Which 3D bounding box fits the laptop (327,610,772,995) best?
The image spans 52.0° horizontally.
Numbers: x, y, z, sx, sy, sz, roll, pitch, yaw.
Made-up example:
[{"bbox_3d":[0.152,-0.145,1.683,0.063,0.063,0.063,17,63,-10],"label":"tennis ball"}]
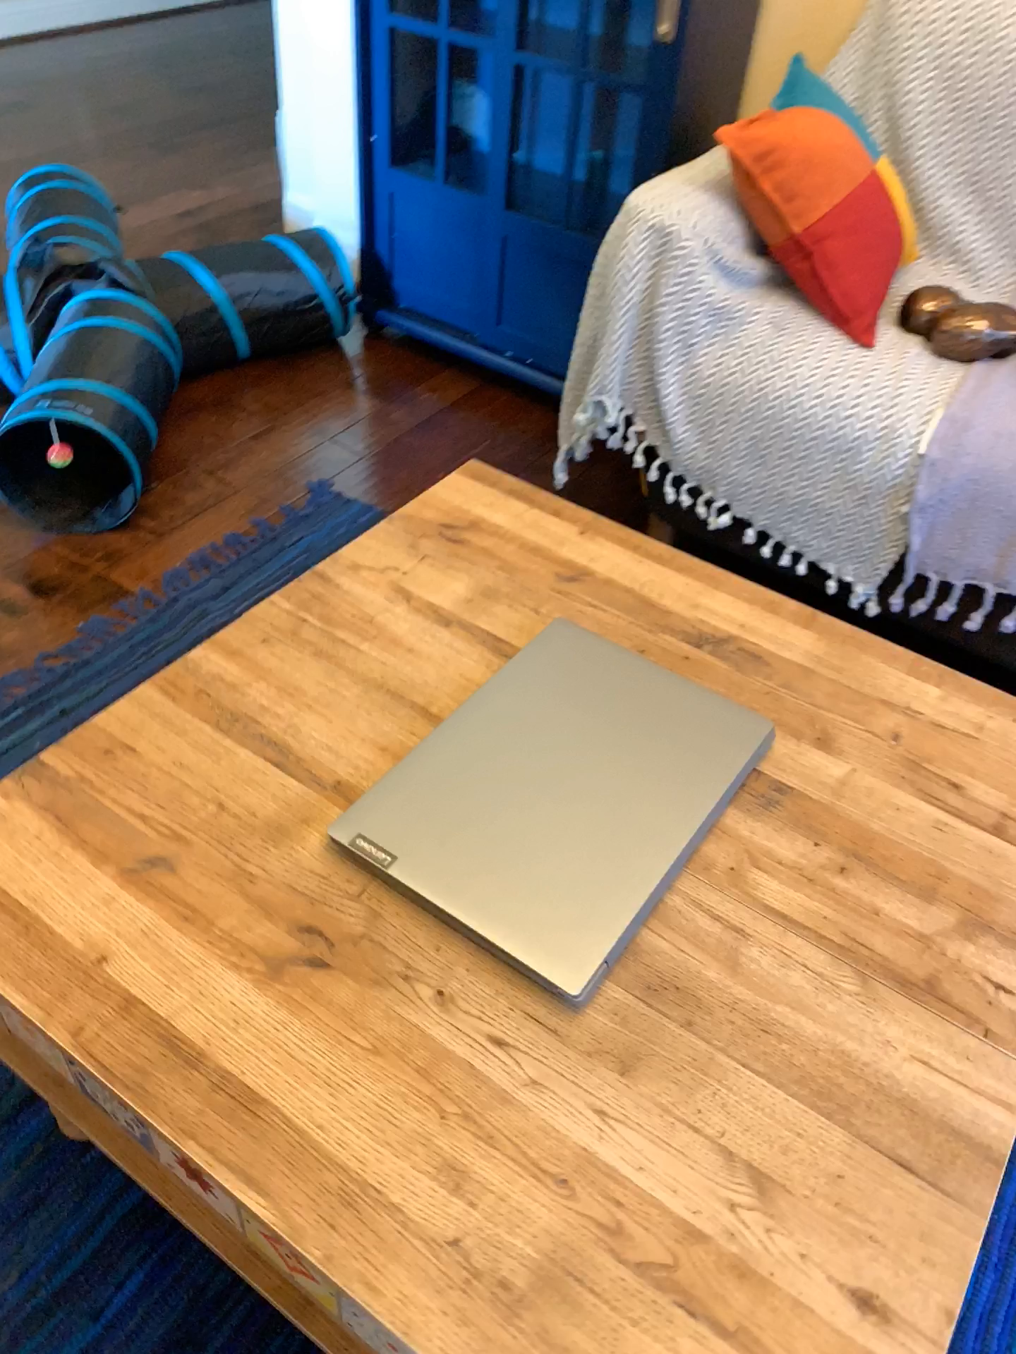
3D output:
[{"bbox_3d":[0.050,0.082,0.907,0.238,0.011,0.348,29,47,21],"label":"laptop"}]
